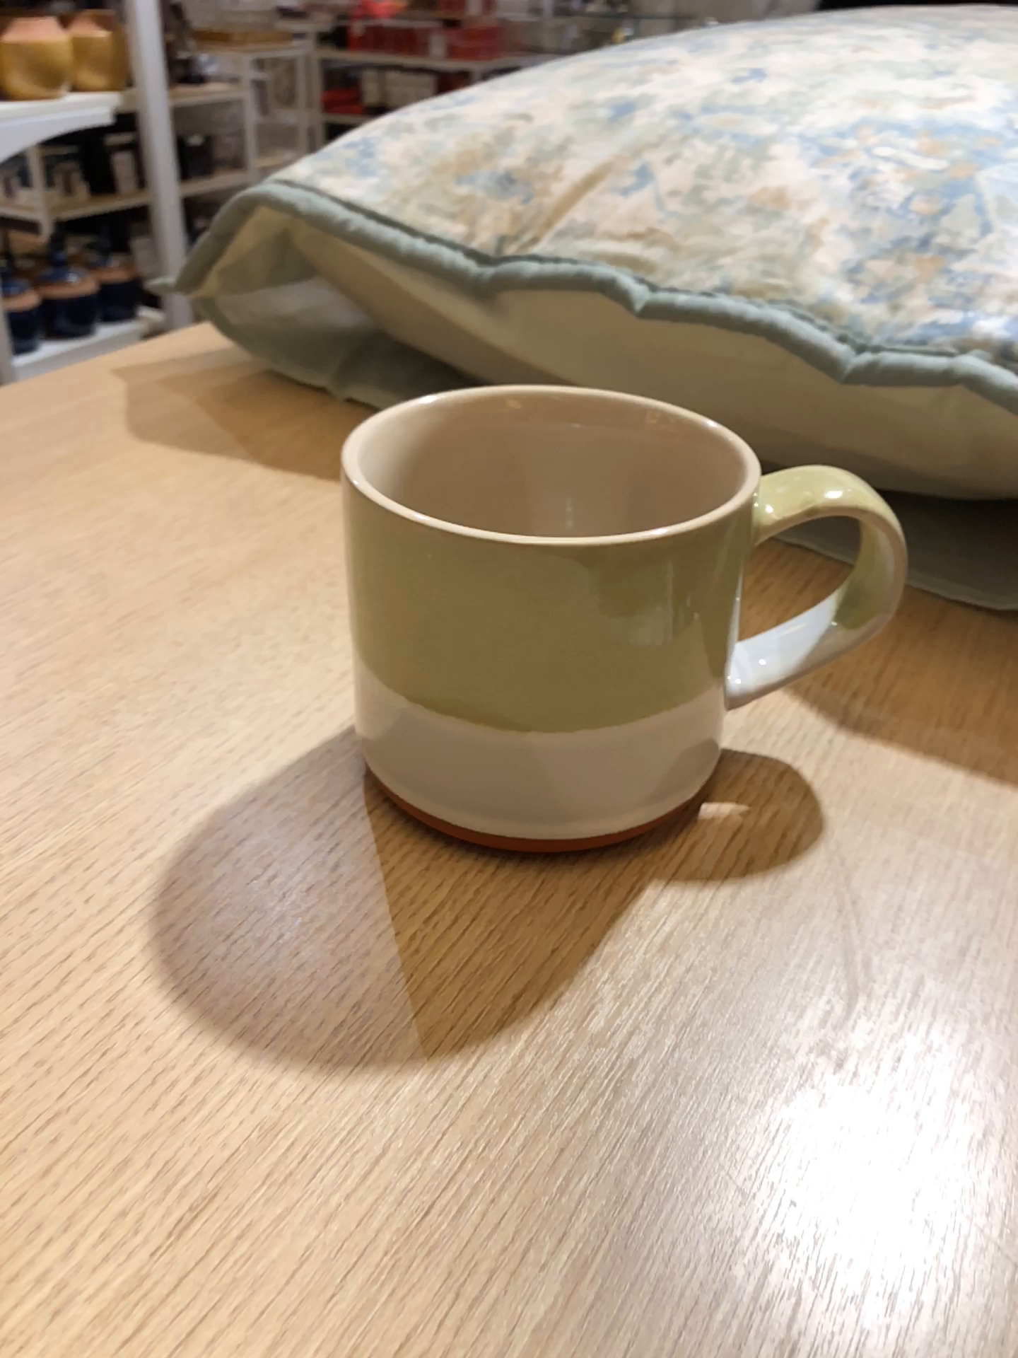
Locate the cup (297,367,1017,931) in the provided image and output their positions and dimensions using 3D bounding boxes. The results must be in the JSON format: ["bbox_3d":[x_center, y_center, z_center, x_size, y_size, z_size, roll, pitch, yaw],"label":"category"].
[{"bbox_3d":[0.028,-0.016,0.269,0.140,0.079,0.101,-6,33,-12],"label":"cup"}]
